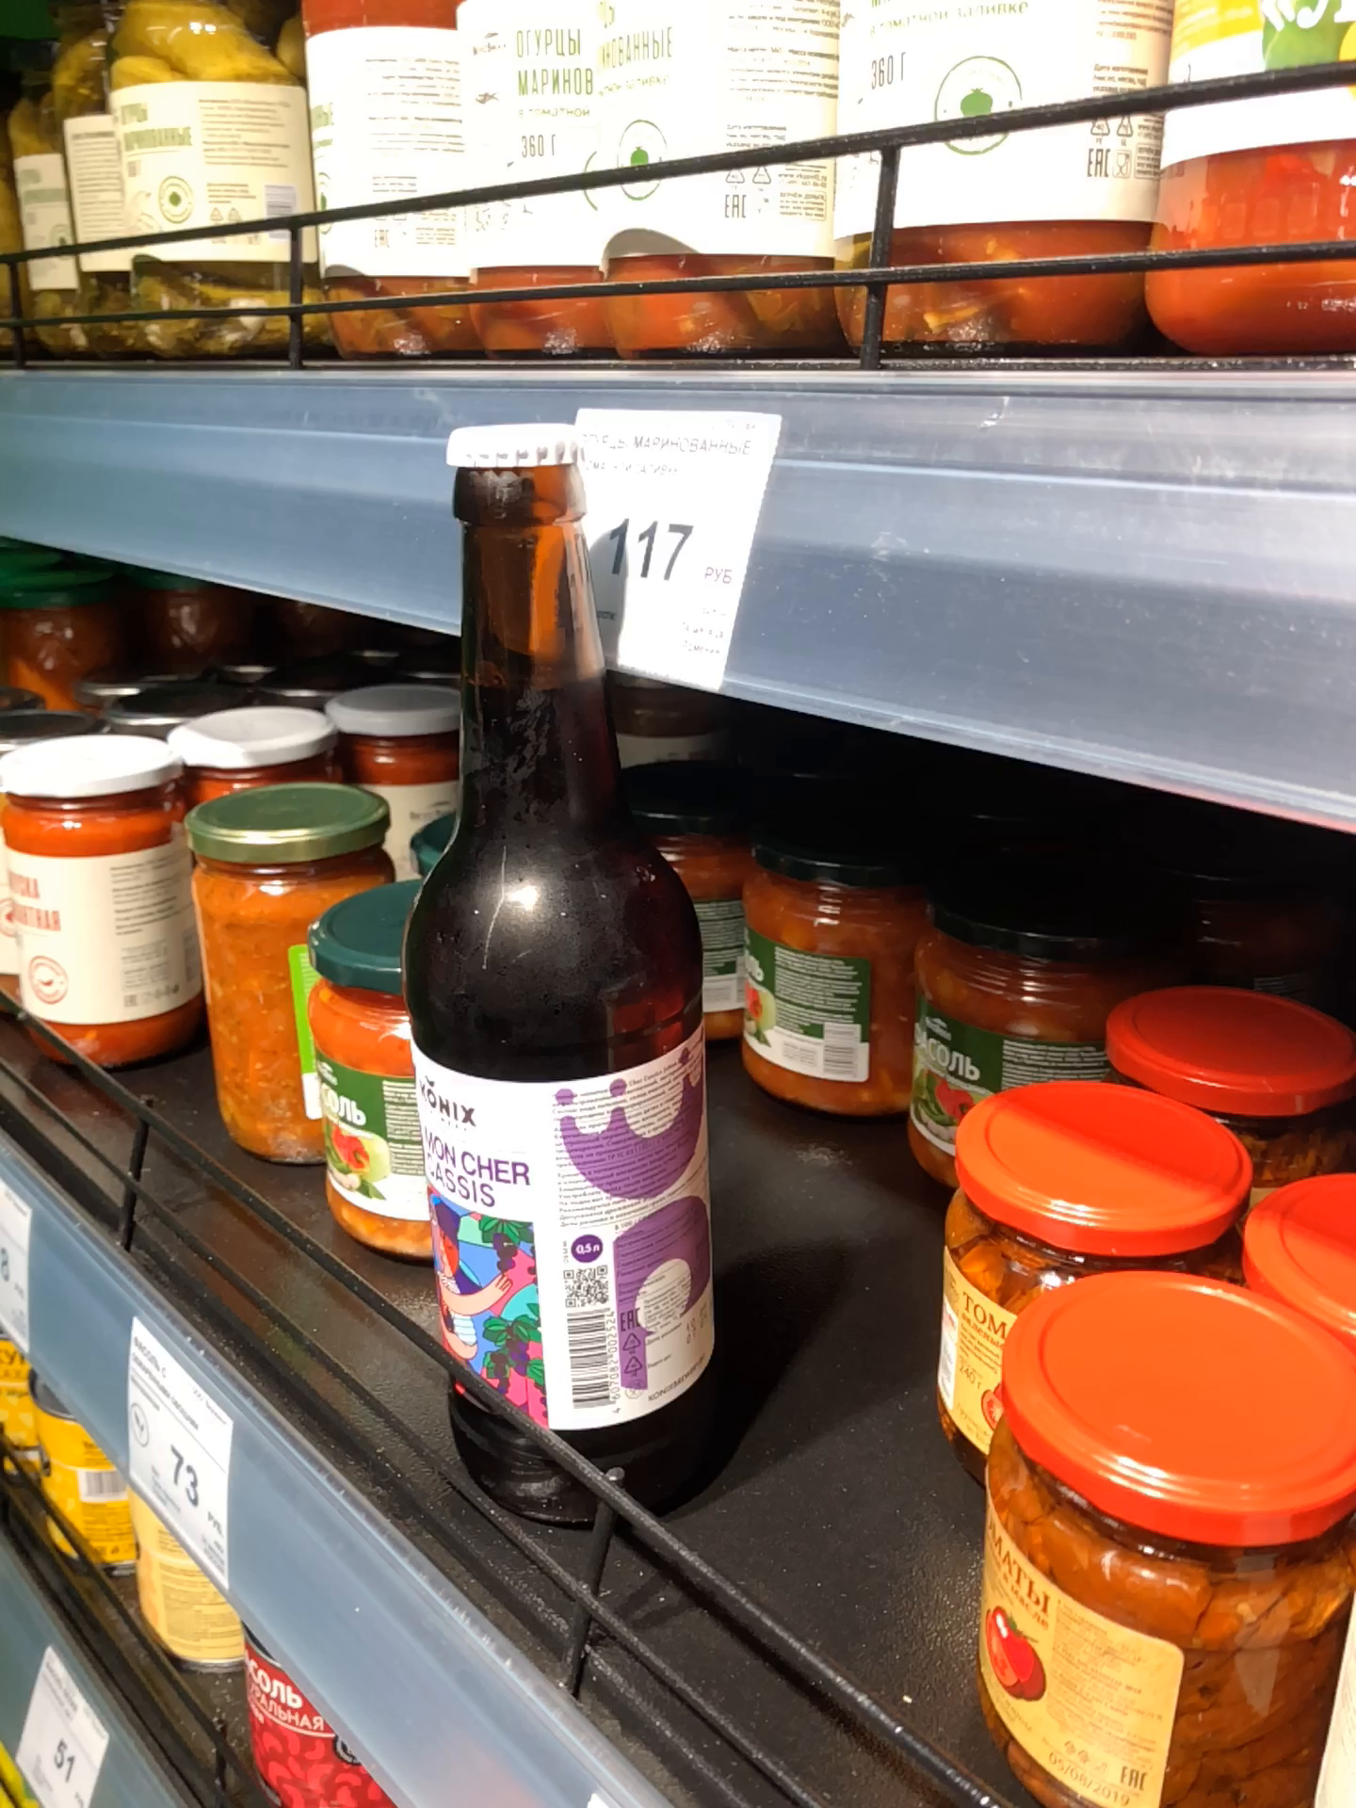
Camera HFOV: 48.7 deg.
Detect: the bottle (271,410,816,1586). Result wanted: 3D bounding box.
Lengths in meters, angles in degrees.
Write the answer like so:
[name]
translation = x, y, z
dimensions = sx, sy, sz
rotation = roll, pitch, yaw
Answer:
[bottle]
translation = -0.025, 0.017, 0.338
dimensions = 0.080, 0.239, 0.080
rotation = -2, 20, 1
